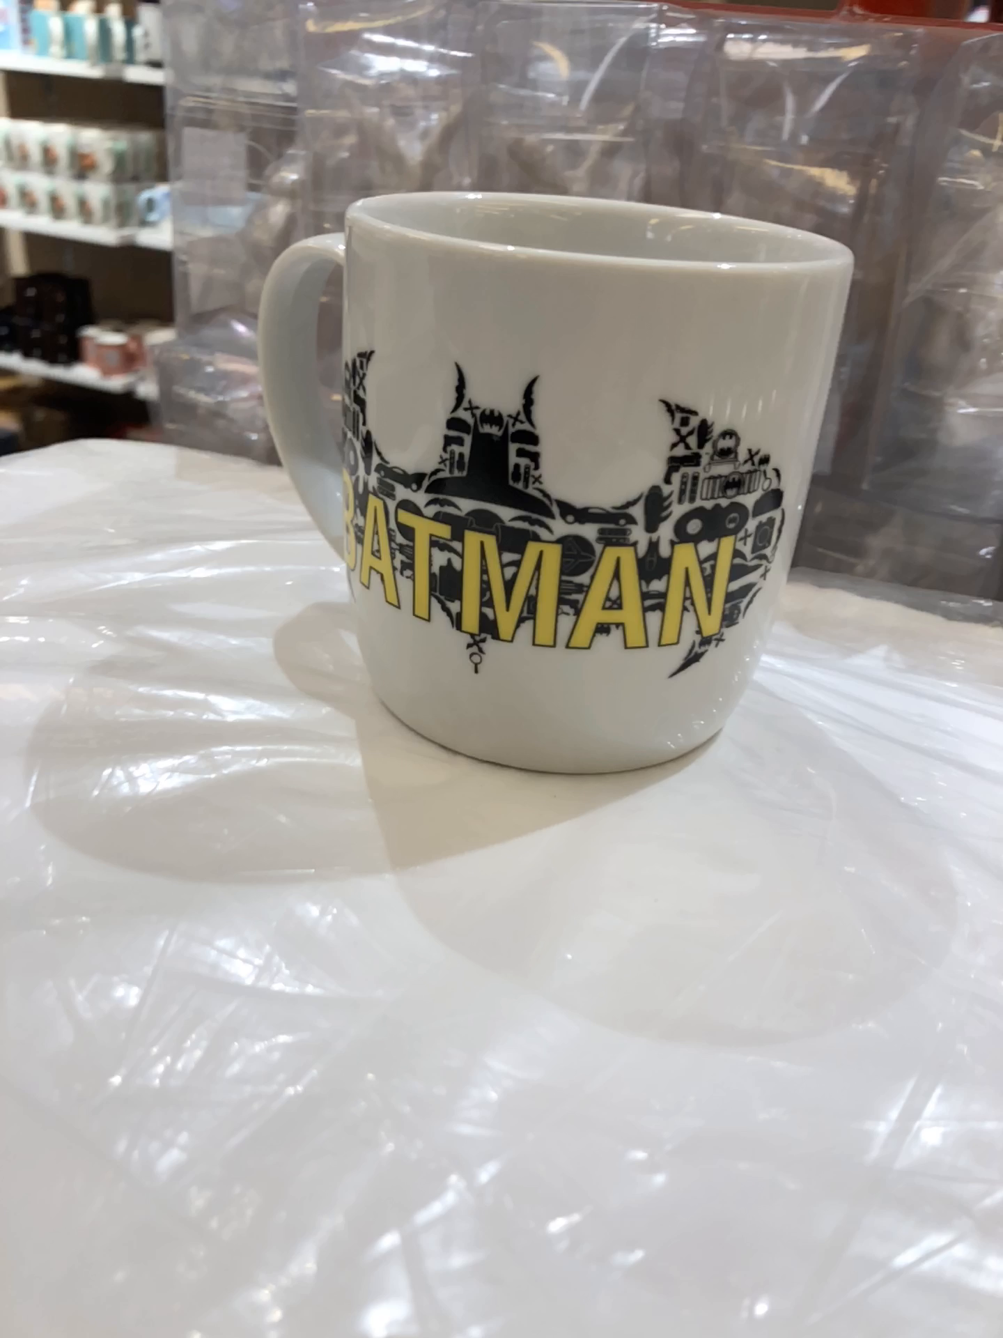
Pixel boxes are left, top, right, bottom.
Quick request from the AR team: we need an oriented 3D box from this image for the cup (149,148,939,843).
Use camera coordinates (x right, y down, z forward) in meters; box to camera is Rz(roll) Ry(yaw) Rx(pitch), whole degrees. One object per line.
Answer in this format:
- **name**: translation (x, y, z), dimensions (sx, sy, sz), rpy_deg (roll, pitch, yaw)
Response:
- **cup**: translation (0.005, -0.044, 0.213), dimensions (0.110, 0.089, 0.080), rpy_deg (22, 32, 30)
